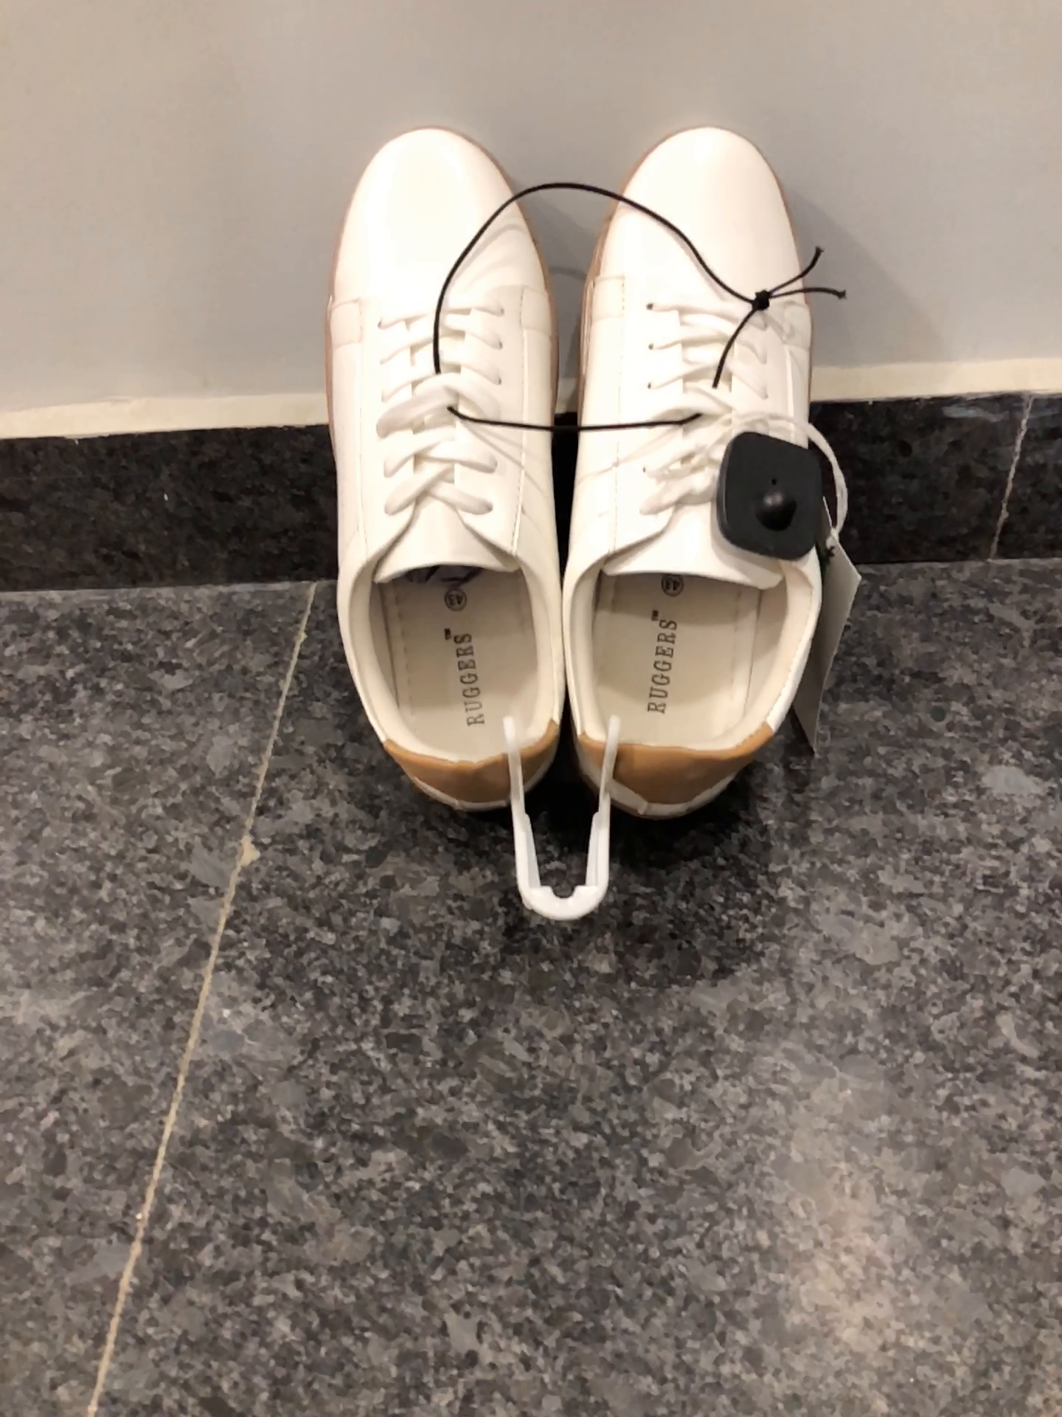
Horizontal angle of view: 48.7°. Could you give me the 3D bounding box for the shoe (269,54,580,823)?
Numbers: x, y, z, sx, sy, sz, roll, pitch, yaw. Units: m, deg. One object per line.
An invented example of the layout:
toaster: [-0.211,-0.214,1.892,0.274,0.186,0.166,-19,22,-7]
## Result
shoe: [-0.039,-0.096,0.454,0.101,0.087,0.273,-3,81,3]

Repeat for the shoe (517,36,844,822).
shoe: [0.053,-0.096,0.452,0.107,0.103,0.274,2,83,0]
